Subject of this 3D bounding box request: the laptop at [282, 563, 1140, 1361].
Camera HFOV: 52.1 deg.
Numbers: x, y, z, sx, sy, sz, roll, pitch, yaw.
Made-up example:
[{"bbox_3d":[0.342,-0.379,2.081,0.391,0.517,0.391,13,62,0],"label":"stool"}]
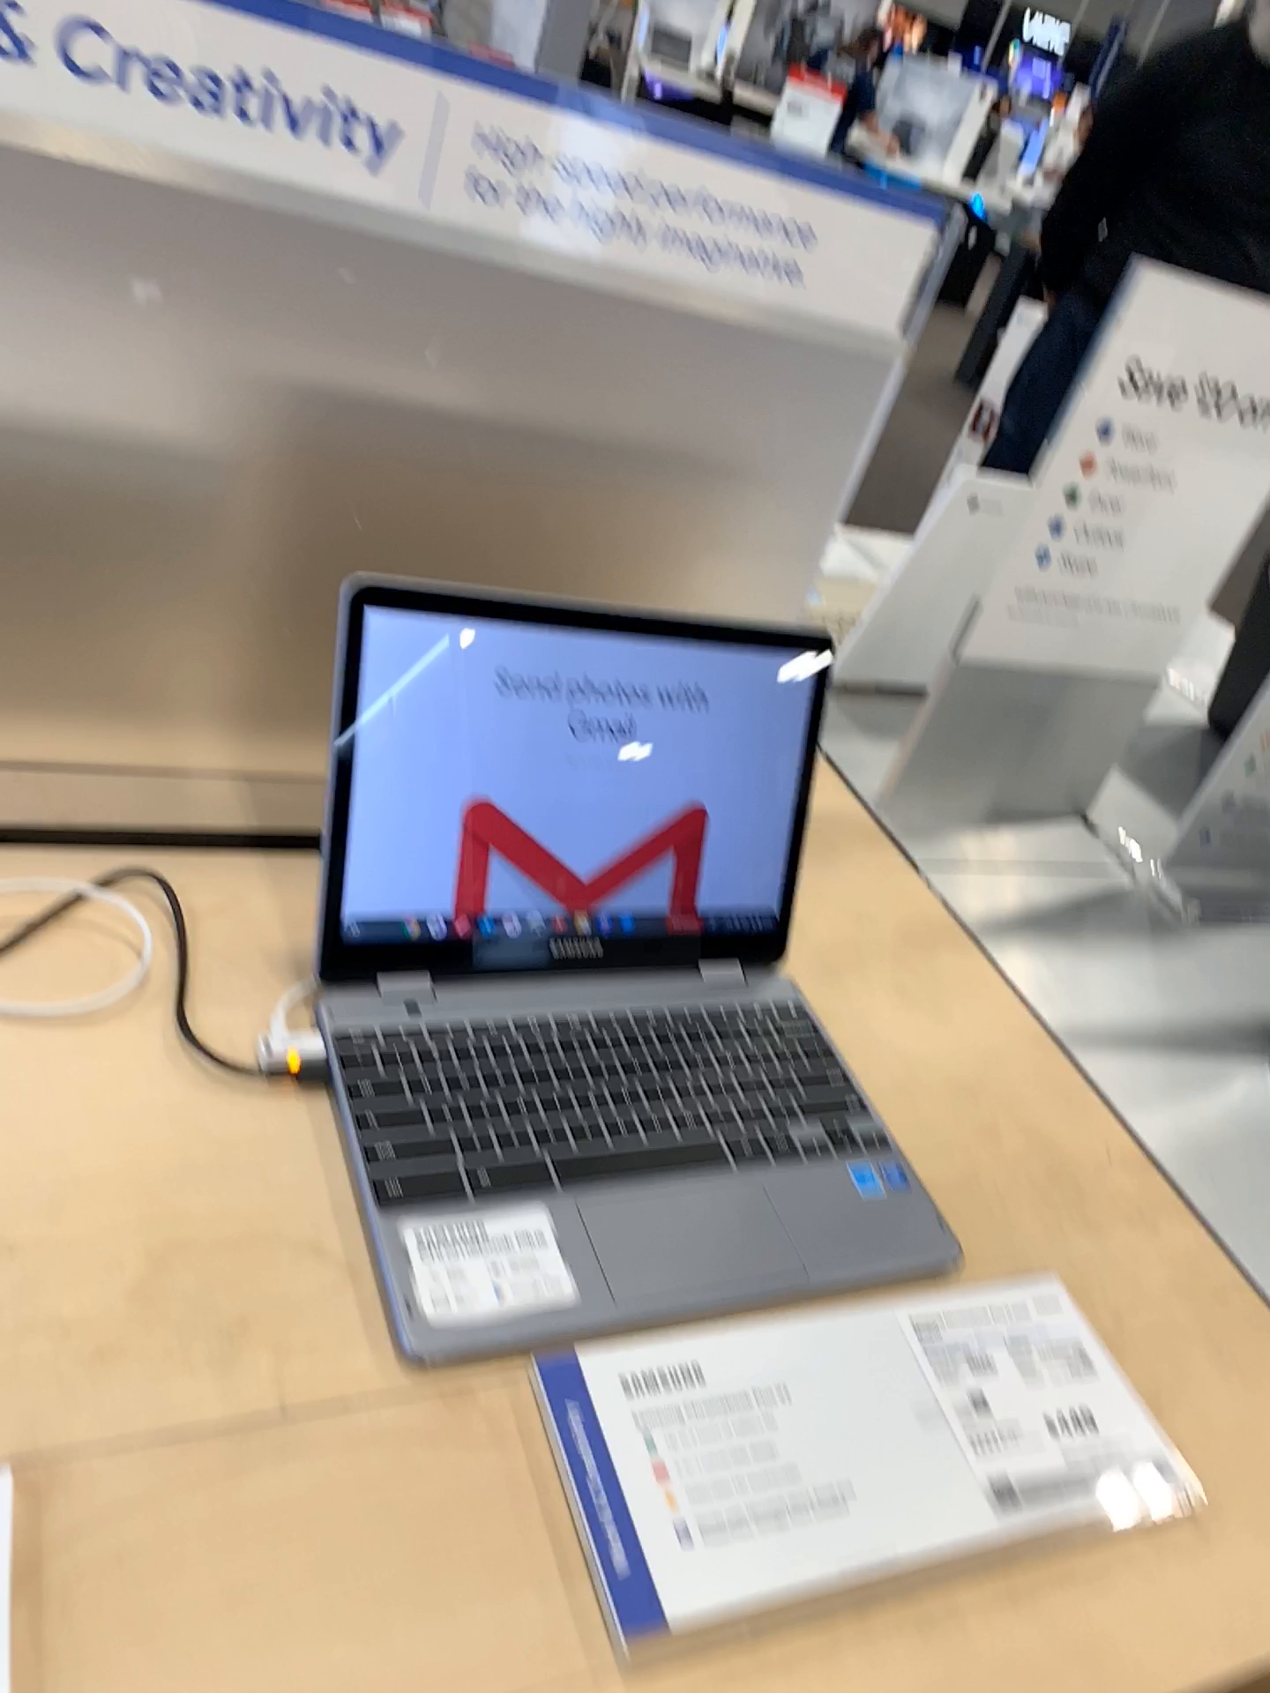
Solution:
[{"bbox_3d":[0.008,0.034,0.615,0.273,0.181,0.289,1,39,-27],"label":"laptop"}]
